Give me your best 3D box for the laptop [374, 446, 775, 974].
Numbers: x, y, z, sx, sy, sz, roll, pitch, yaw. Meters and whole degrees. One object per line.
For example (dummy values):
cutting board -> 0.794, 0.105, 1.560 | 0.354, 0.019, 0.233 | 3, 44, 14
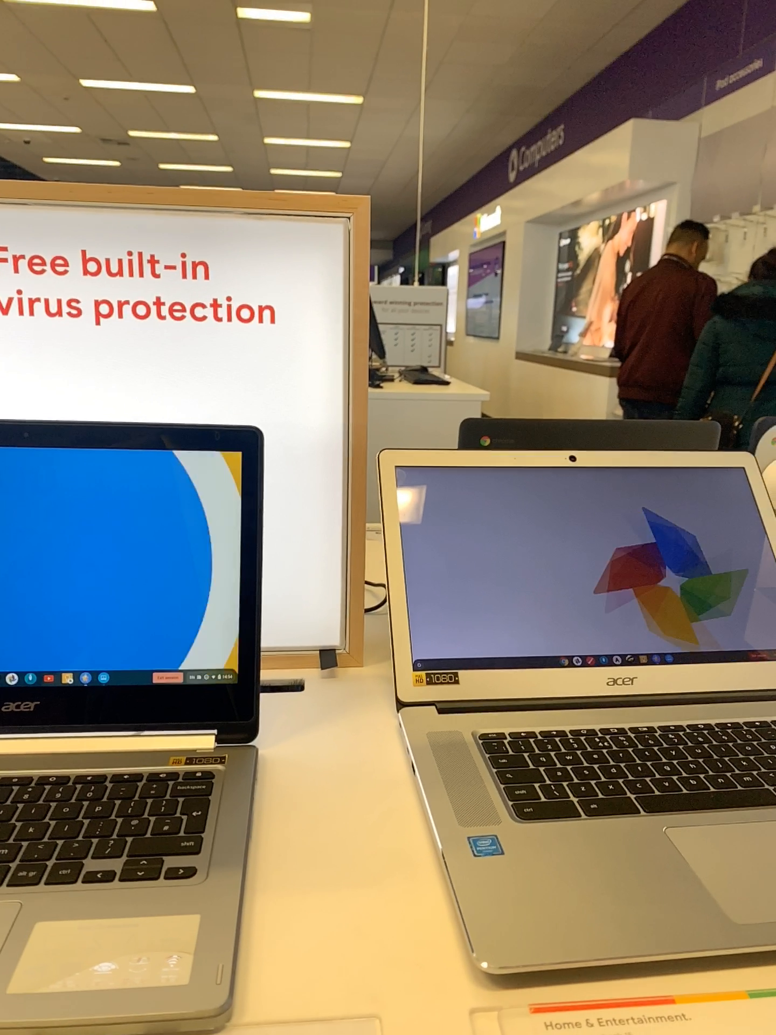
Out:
laptop -> 0.203, 0.072, 0.588 | 0.376, 0.175, 0.427 | 0, 15, -9

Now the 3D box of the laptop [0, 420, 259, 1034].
laptop -> -0.235, 0.076, 0.441 | 0.307, 0.216, 0.279 | 1, 13, -7
